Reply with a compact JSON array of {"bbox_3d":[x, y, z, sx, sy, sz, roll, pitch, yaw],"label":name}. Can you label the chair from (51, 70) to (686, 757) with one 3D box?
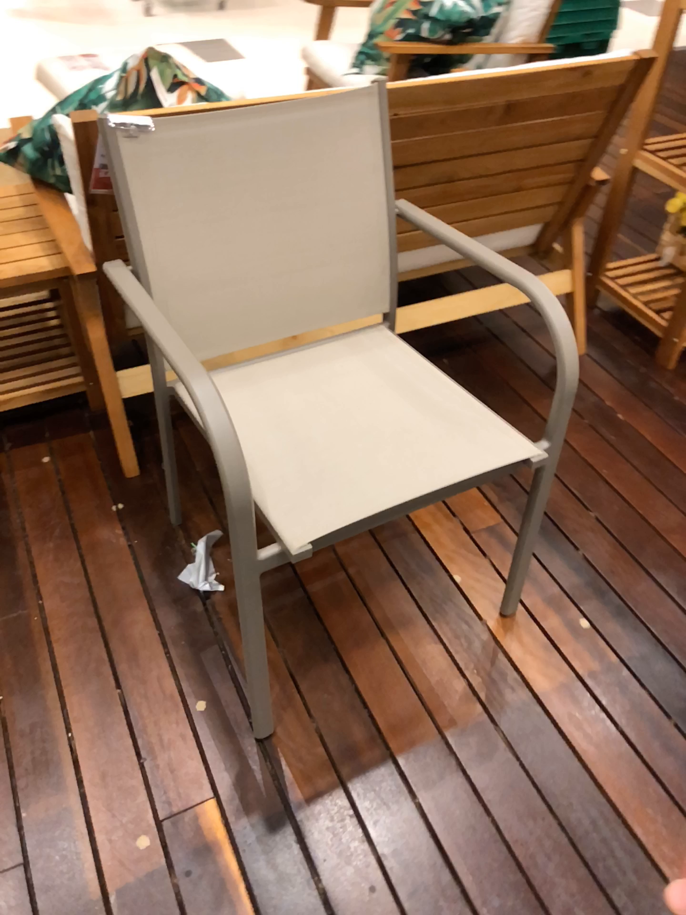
[{"bbox_3d":[-0.011,-0.091,1.250,0.621,0.794,0.614,-18,47,-21],"label":"chair"}]
